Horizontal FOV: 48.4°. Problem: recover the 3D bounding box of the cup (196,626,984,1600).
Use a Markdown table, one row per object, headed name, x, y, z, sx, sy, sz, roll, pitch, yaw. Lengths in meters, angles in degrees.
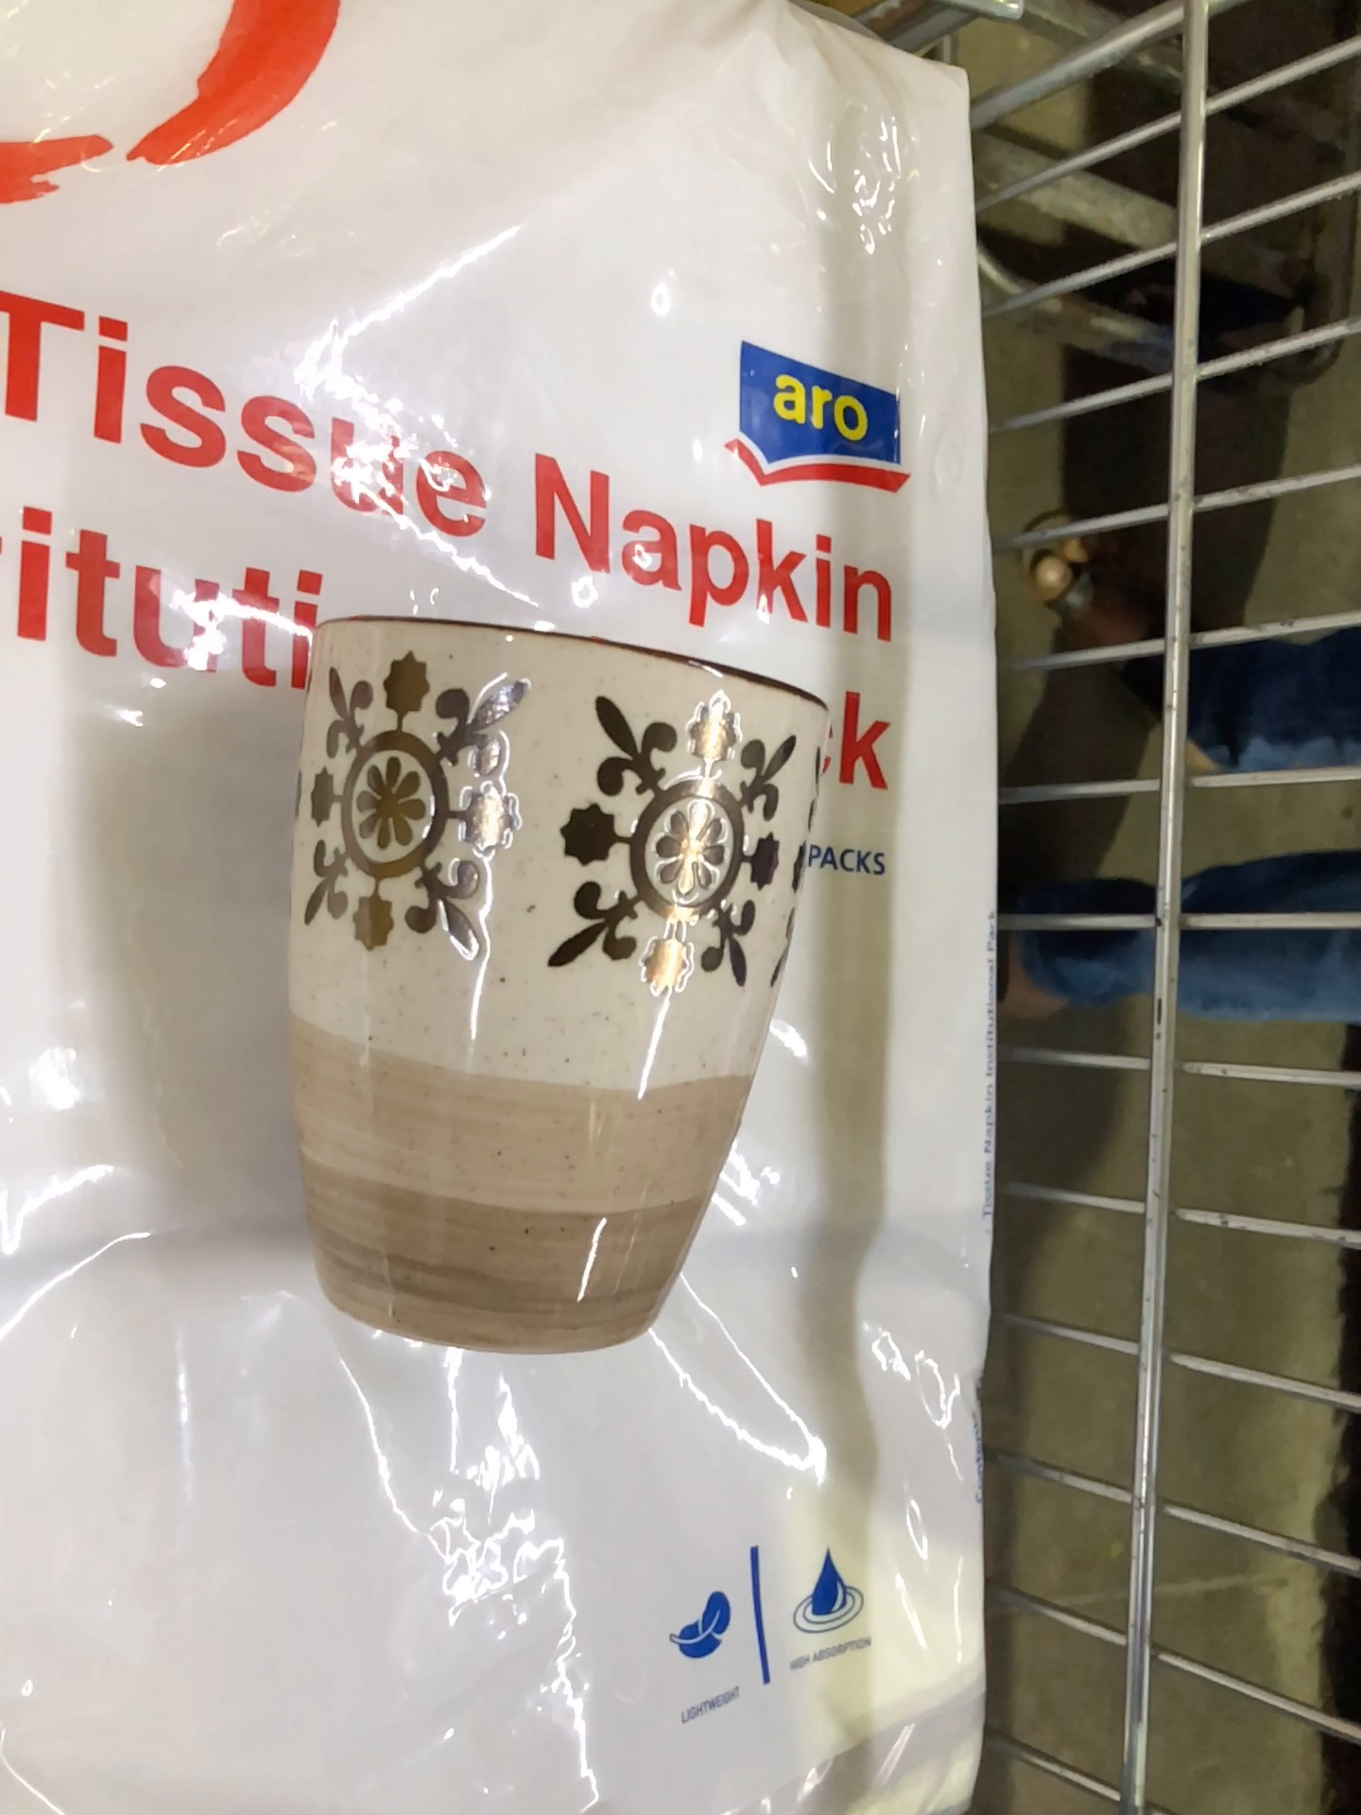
| name | x | y | z | sx | sy | sz | roll | pitch | yaw |
| --- | --- | --- | --- | --- | --- | --- | --- | --- | --- |
| cup | -0.005 | 0.024 | 0.234 | 0.100 | 0.070 | 0.110 | 7 | 90 | -66 |
